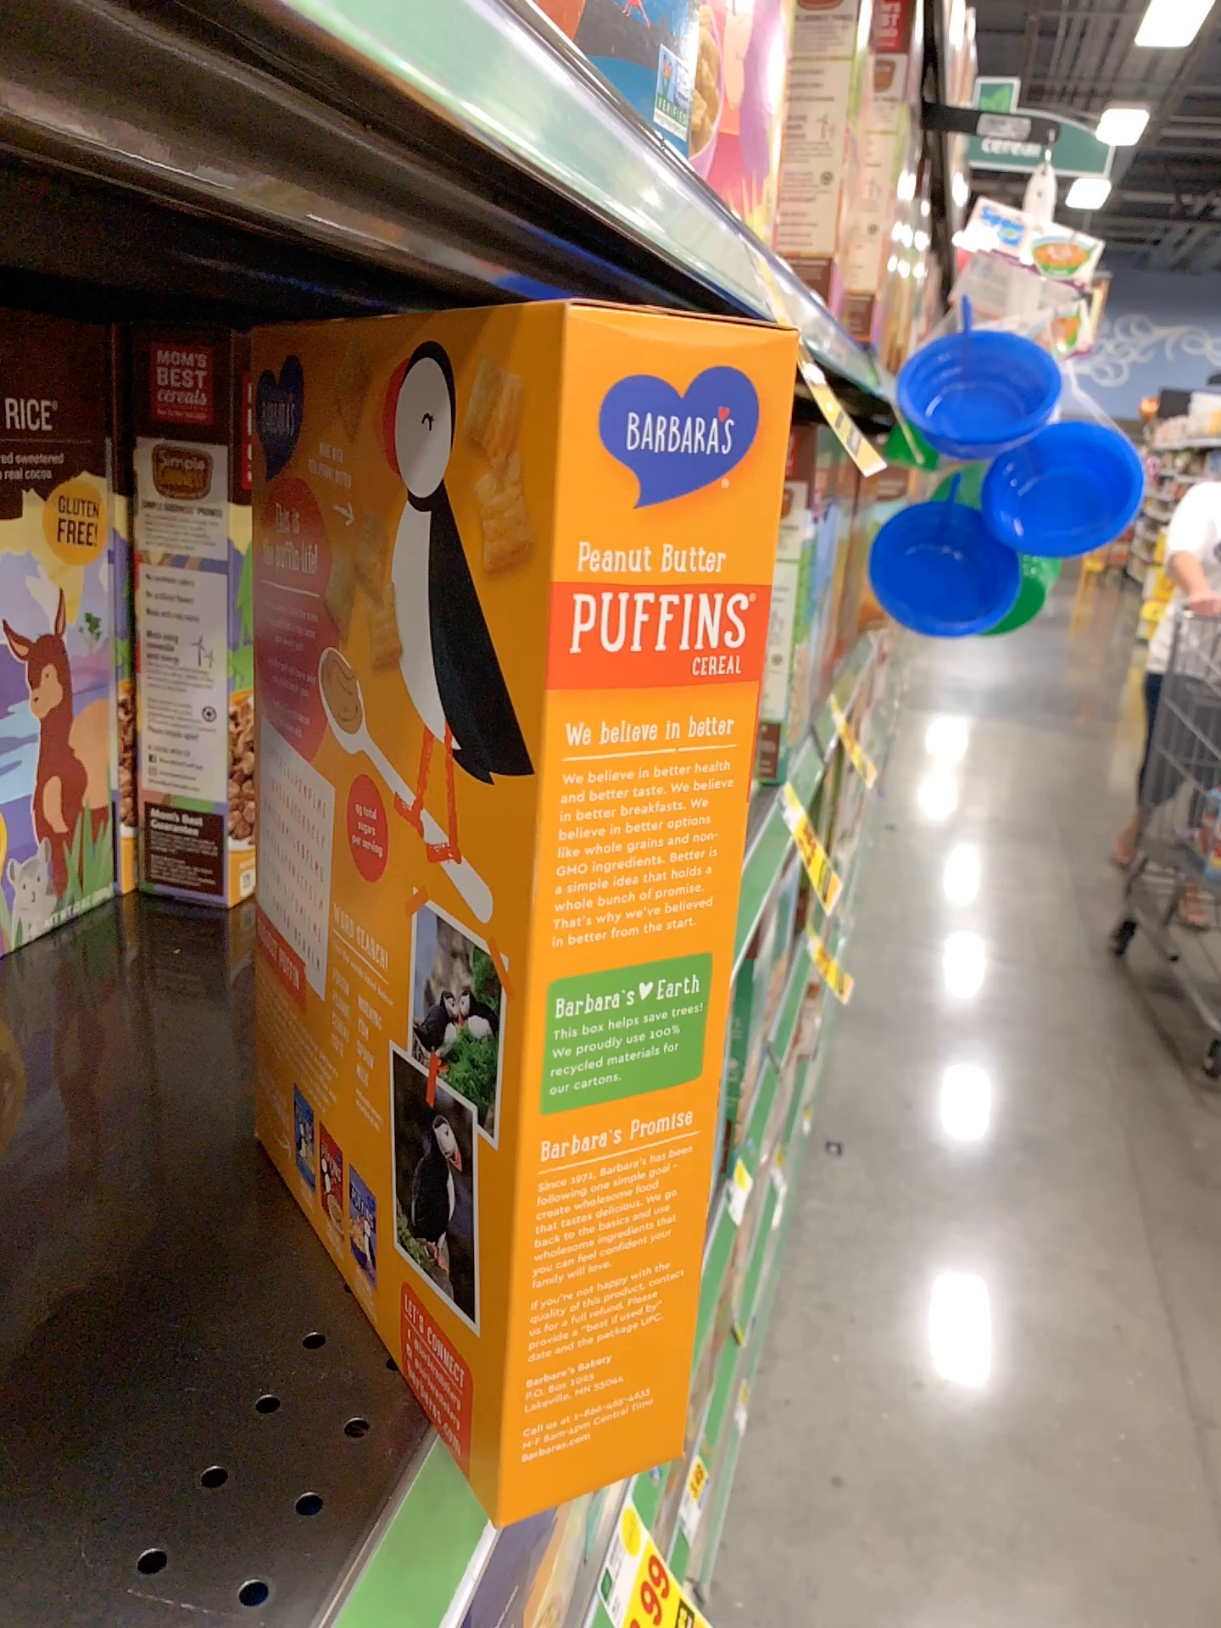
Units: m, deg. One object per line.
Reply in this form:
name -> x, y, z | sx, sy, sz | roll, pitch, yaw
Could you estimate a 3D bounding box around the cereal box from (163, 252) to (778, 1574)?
cereal box -> -0.057, 0.008, 0.355 | 0.060, 0.279, 0.220 | -8, 19, -32
